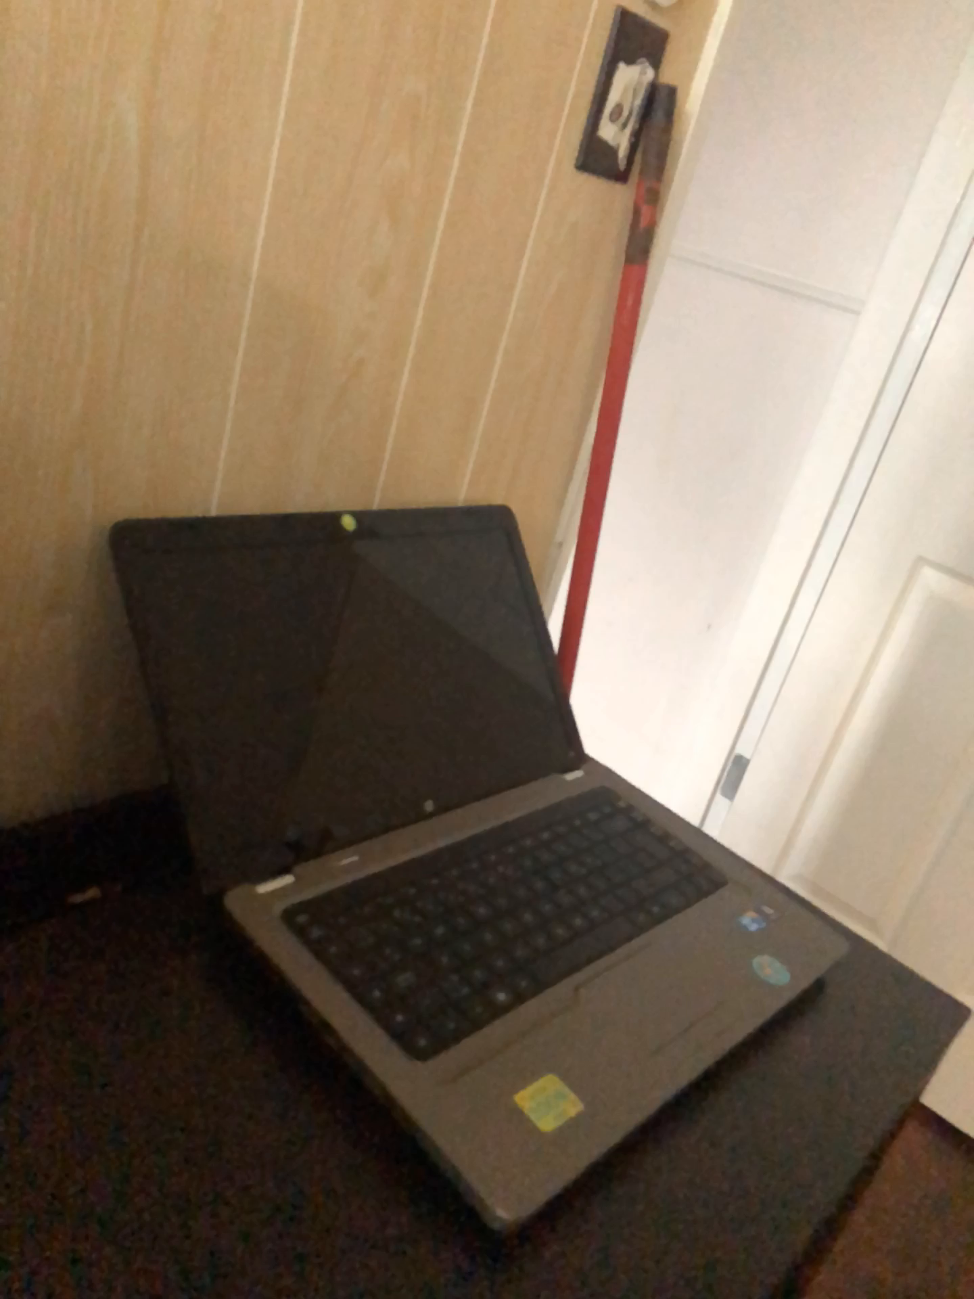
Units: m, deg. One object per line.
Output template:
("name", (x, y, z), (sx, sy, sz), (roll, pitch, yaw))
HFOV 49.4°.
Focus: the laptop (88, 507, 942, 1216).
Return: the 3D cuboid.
("laptop", (0.014, 0.067, 0.706), (0.419, 0.154, 0.364), (35, 29, 34))
